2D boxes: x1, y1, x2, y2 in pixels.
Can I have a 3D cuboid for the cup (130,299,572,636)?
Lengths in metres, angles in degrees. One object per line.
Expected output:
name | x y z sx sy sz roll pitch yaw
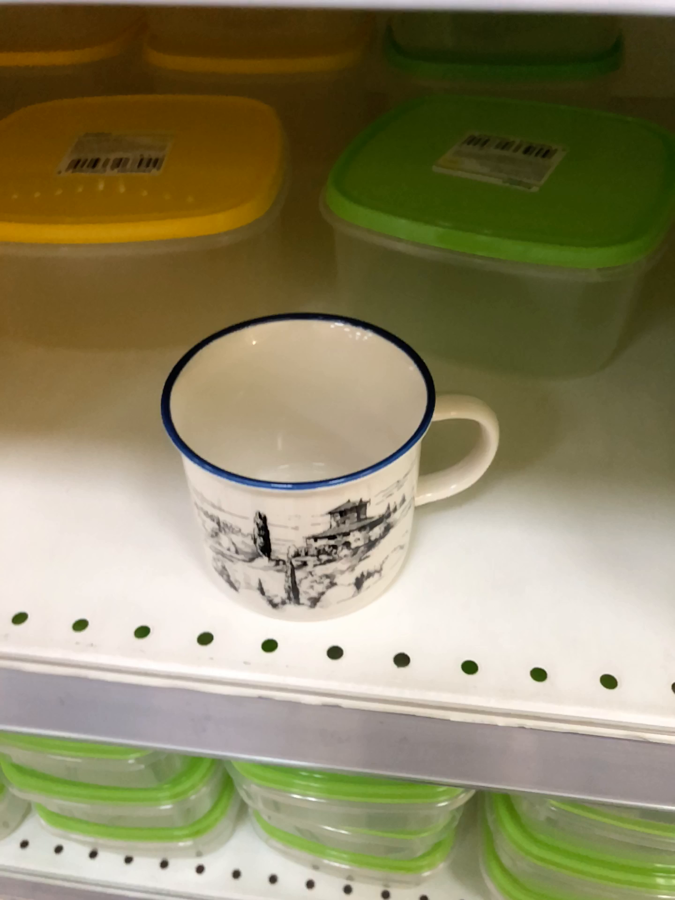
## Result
cup | 0.003 0.004 0.282 0.130 0.068 0.103 -2 45 0
